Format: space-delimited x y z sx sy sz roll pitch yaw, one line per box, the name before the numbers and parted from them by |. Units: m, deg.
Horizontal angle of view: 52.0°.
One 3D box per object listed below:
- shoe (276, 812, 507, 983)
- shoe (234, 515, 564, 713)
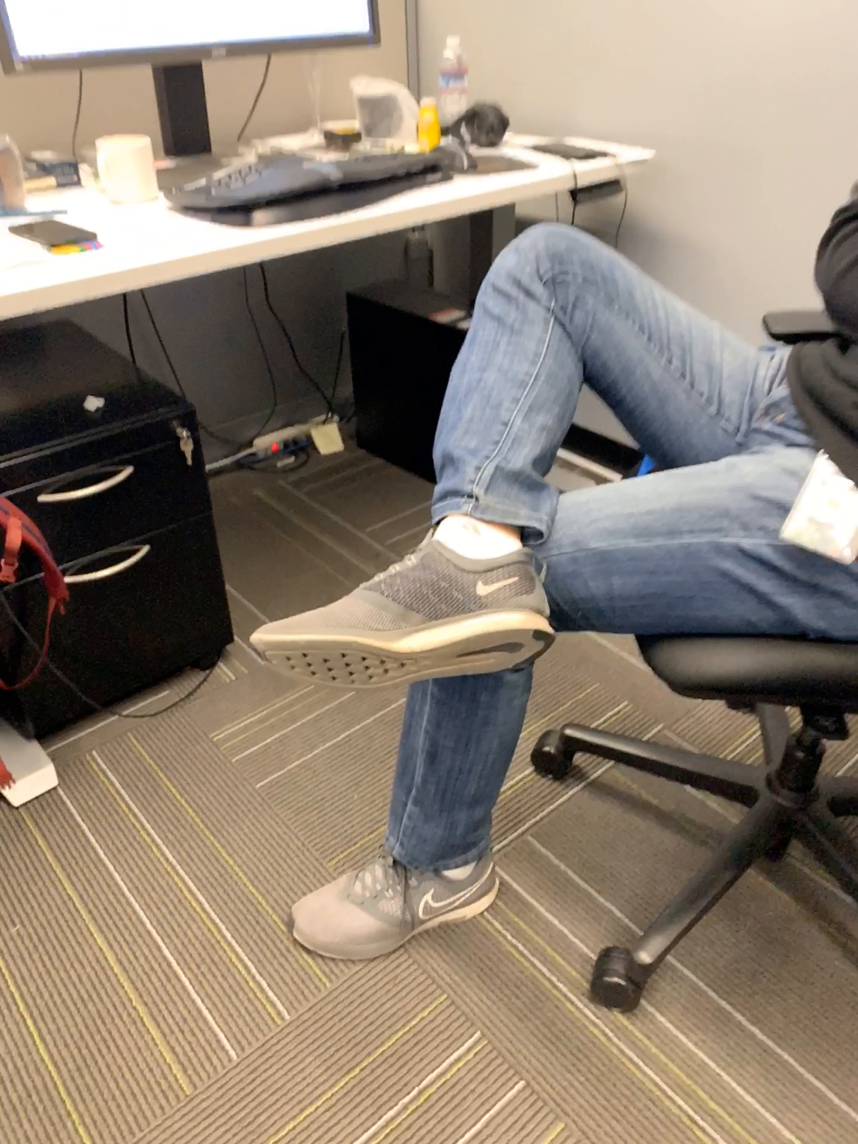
shoe | -0.051 0.439 1.201 0.287 0.092 0.114 -11 36 -15
shoe | -0.024 0.039 0.871 0.295 0.120 0.134 3 38 3
